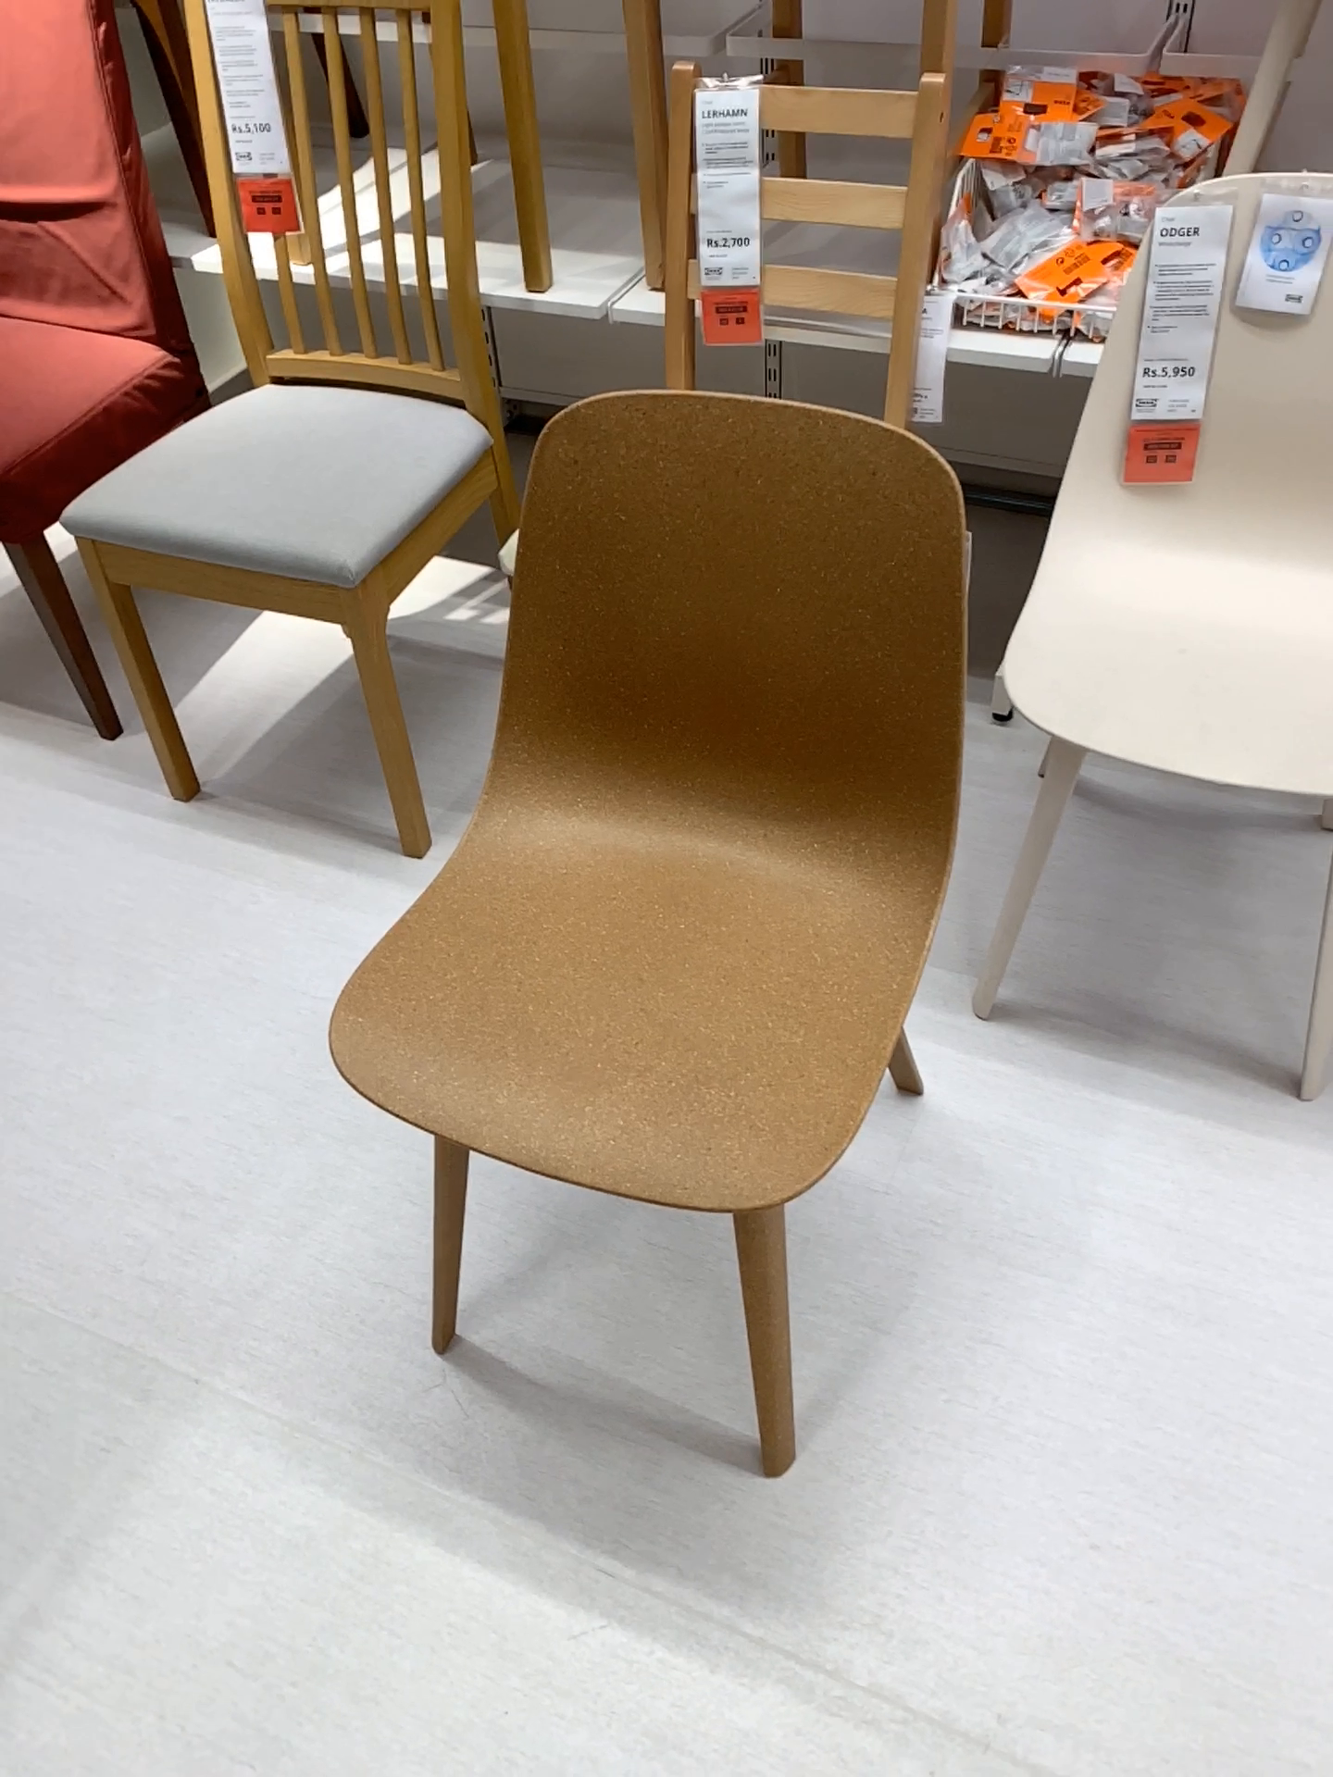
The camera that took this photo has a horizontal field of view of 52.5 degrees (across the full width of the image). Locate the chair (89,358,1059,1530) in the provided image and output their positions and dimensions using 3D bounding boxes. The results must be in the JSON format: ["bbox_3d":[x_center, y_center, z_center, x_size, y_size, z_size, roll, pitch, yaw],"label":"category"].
[{"bbox_3d":[0.000,0.050,1.174,0.461,0.757,0.561,14,47,19],"label":"chair"}]
